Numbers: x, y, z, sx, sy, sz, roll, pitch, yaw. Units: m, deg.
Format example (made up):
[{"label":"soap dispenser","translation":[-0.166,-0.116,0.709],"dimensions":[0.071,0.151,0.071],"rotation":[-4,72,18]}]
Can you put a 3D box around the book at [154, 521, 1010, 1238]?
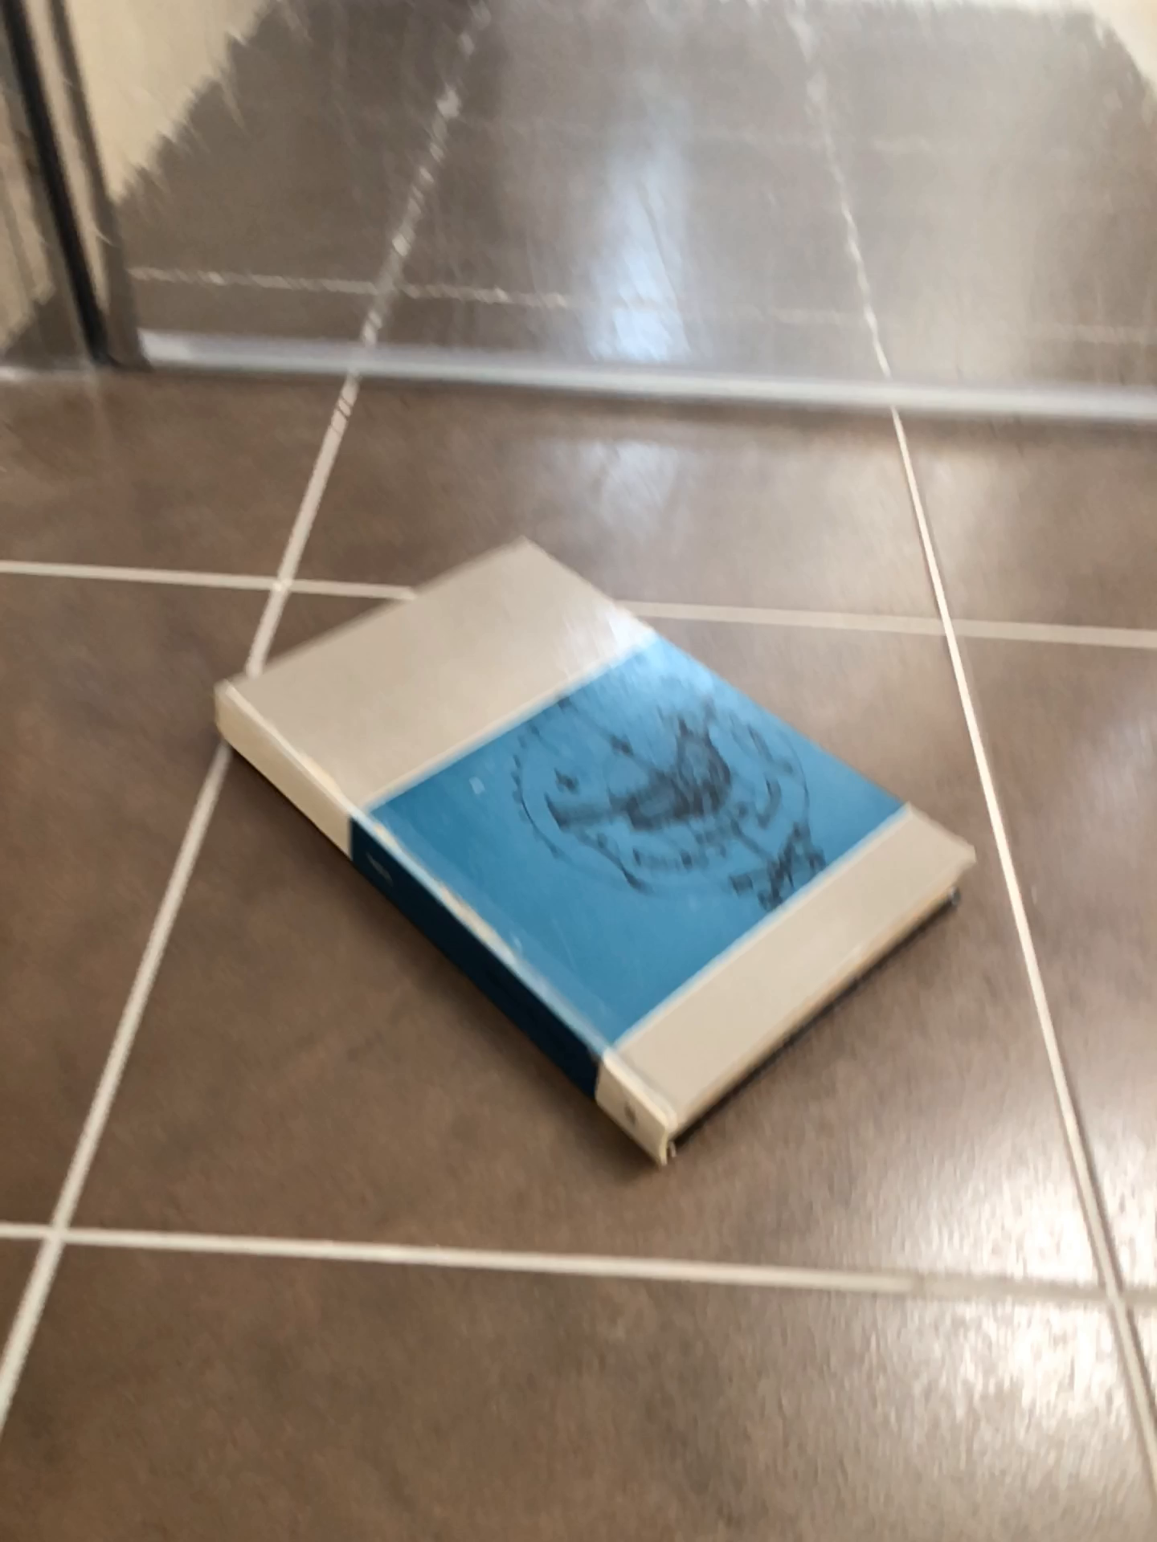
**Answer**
[{"label":"book","translation":[-0.007,0.014,0.542],"dimensions":[0.211,0.040,0.300],"rotation":[-32,55,-30]}]
